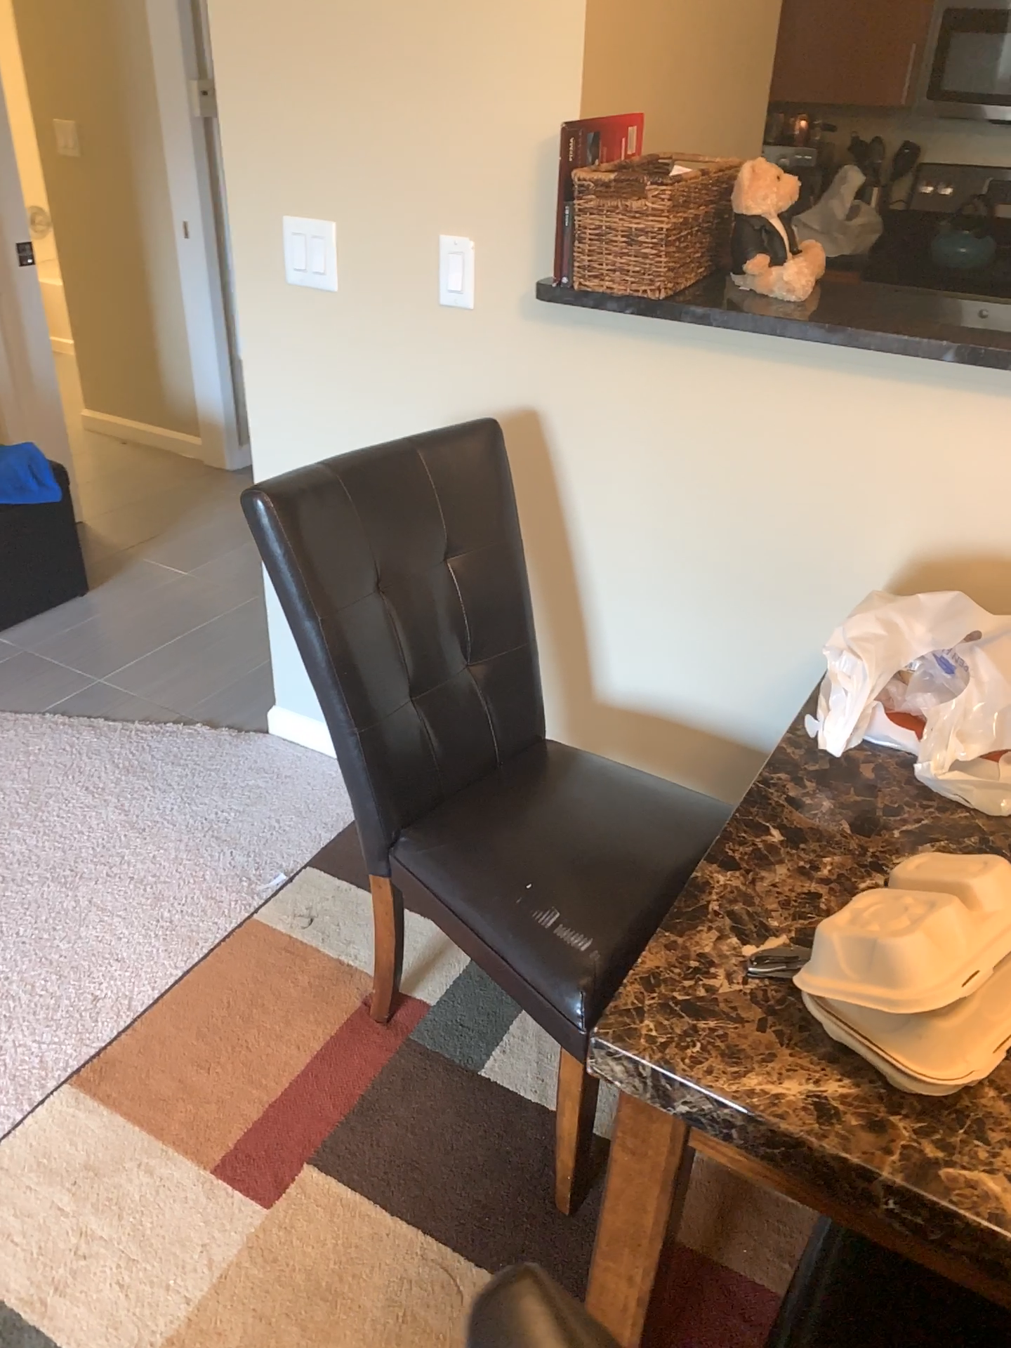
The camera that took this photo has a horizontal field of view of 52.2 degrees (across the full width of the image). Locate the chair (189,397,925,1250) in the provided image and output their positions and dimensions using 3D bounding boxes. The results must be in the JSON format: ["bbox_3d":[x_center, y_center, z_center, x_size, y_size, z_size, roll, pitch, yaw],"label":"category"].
[{"bbox_3d":[0.091,0.151,1.724,0.732,0.925,0.812,23,36,31],"label":"chair"}]
